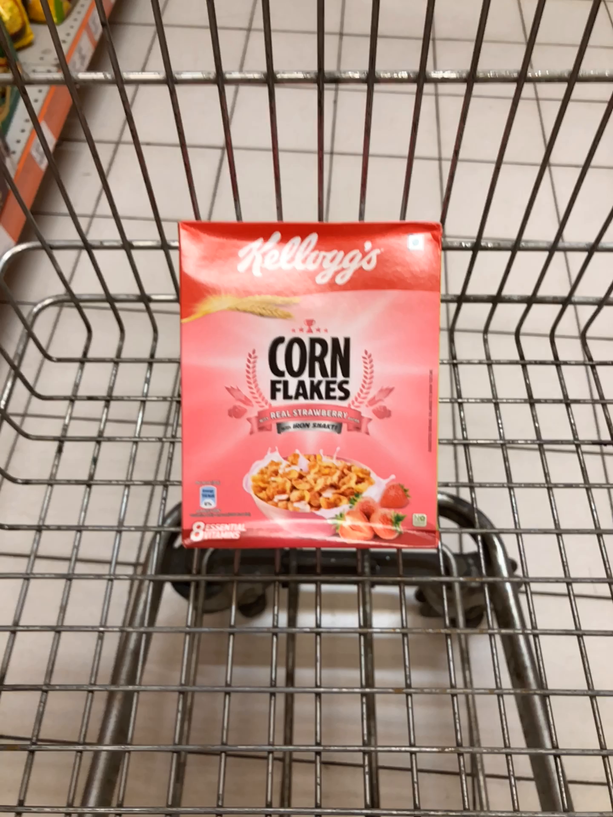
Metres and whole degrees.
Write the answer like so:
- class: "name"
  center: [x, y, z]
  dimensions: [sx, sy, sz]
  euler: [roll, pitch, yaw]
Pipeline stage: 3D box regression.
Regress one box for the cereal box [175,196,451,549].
- class: "cereal box"
  center: [0.002, -0.019, 0.377]
  dimensions: [0.140, 0.050, 0.180]
  euler: [1, 94, 0]
